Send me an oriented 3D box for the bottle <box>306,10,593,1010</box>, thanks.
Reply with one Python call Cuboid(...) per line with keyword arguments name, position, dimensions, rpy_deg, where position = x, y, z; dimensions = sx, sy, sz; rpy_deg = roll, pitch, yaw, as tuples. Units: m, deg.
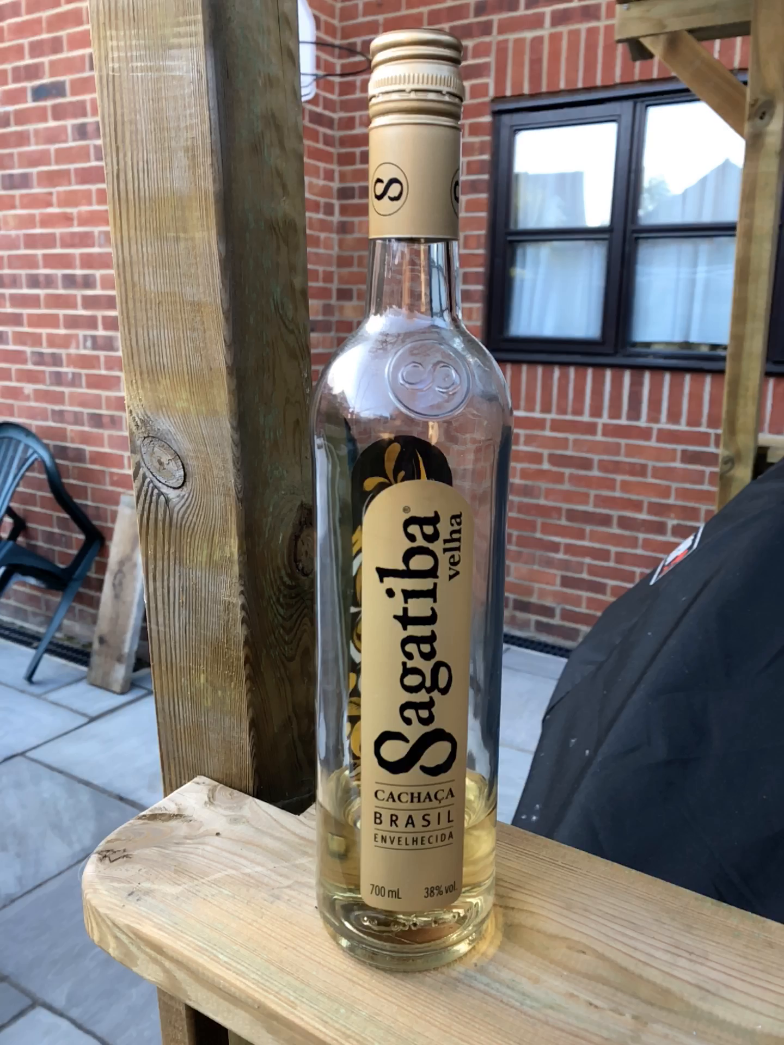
Cuboid(name="bottle", position=(0.013, 0.009, 0.309), dimensions=(0.080, 0.329, 0.060), rpy_deg=(1, 12, 0))
